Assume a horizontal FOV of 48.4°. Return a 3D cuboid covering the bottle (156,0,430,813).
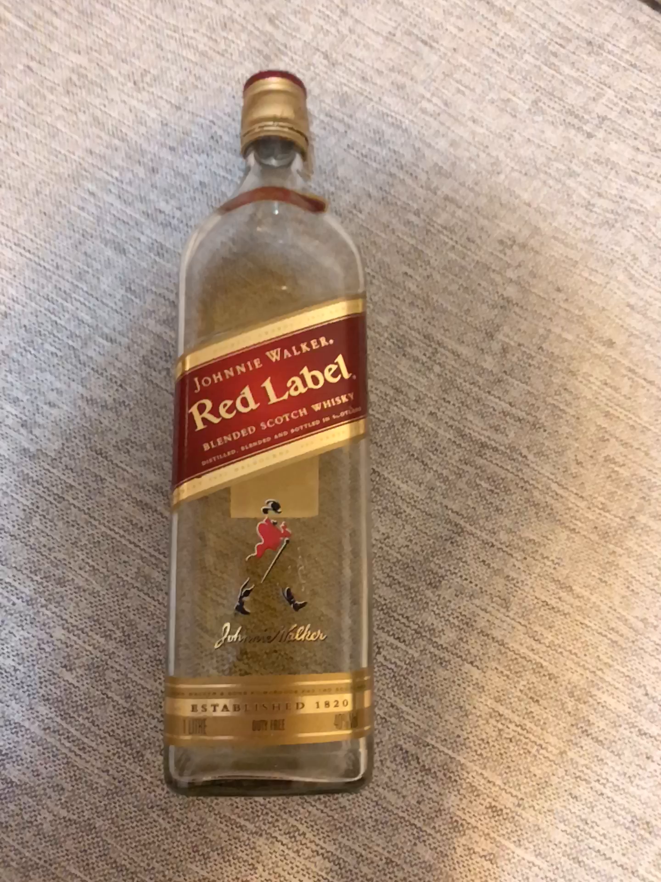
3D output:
[{"bbox_3d":[-0.015,-0.027,0.300,0.090,0.070,0.310,0,81,-4],"label":"bottle"}]
